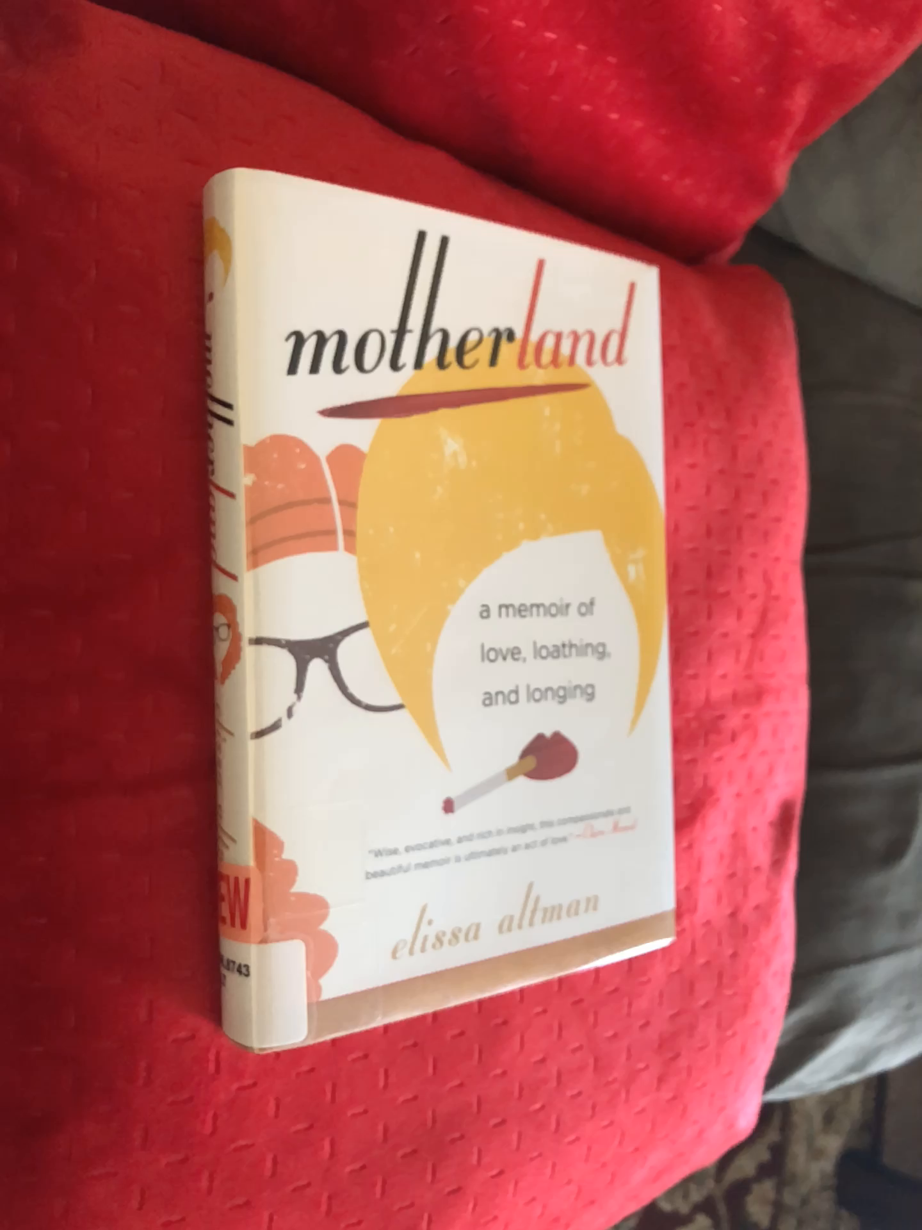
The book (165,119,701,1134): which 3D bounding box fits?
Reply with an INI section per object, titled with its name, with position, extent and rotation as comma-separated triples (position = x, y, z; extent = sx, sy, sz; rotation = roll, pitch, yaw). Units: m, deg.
[book]
position = 0.000, 0.002, 0.273
extent = 0.141, 0.040, 0.210
rotation = -2, 91, -38
